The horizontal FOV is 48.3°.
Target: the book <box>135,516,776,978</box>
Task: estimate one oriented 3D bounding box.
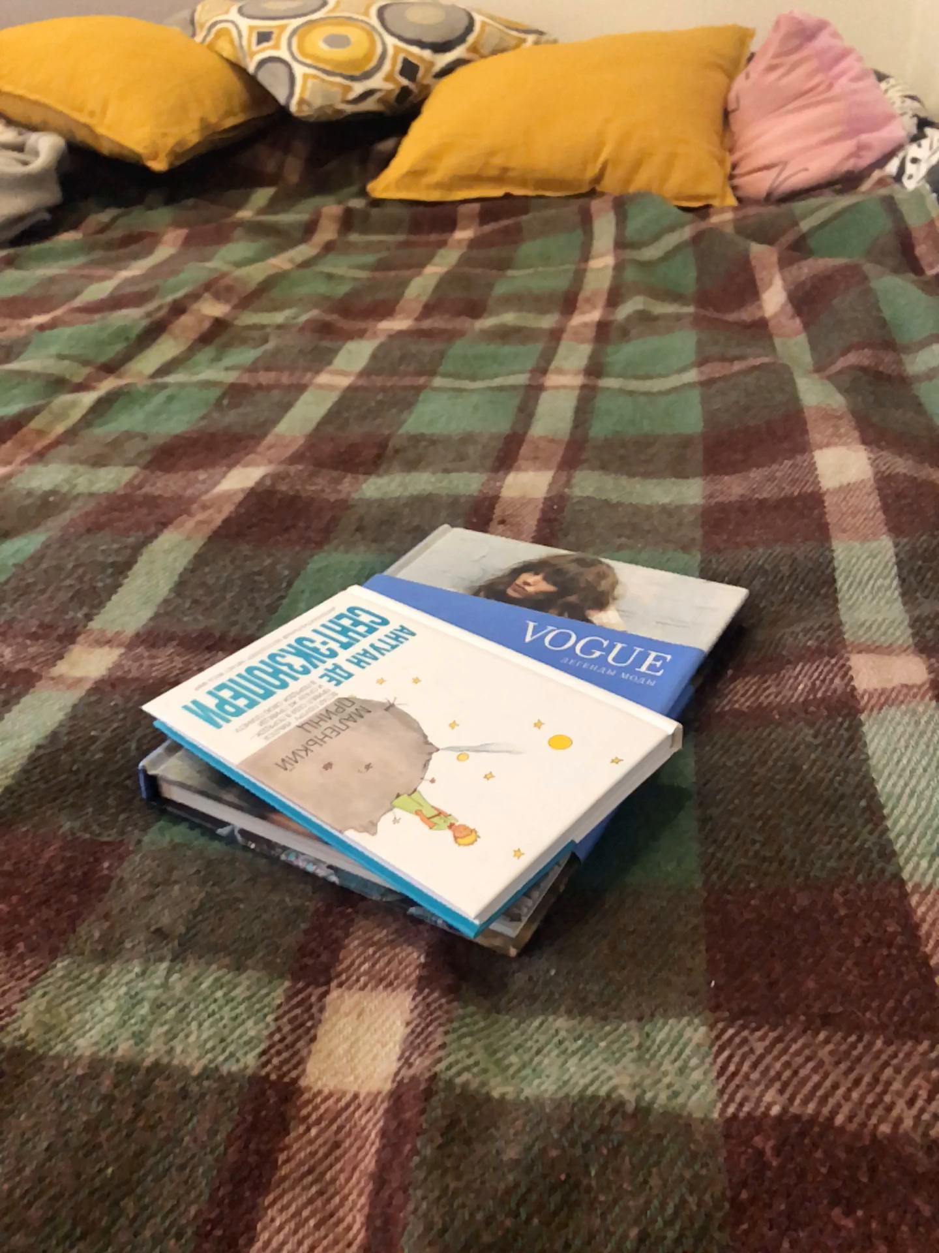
[{"bbox_3d":[0.009,0.025,0.452,0.174,0.023,0.241,15,35,27],"label":"book"}]

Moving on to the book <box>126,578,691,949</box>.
[{"bbox_3d":[-0.025,0.035,0.384,0.170,0.014,0.119,23,39,35],"label":"book"}]
